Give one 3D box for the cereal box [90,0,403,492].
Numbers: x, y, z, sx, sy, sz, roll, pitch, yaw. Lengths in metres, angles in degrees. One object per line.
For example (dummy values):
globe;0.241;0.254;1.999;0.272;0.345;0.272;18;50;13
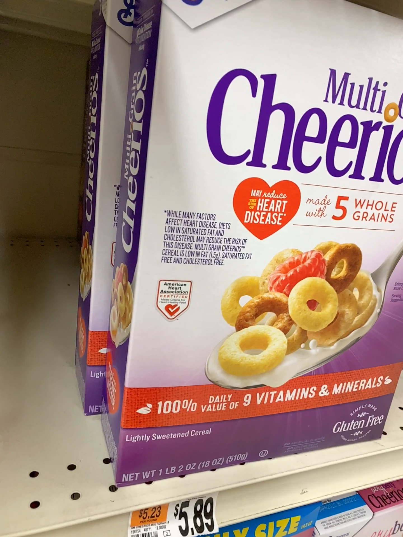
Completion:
cereal box;0.059;-0.013;0.309;0.250;0.319;0.070;1;18;-23
